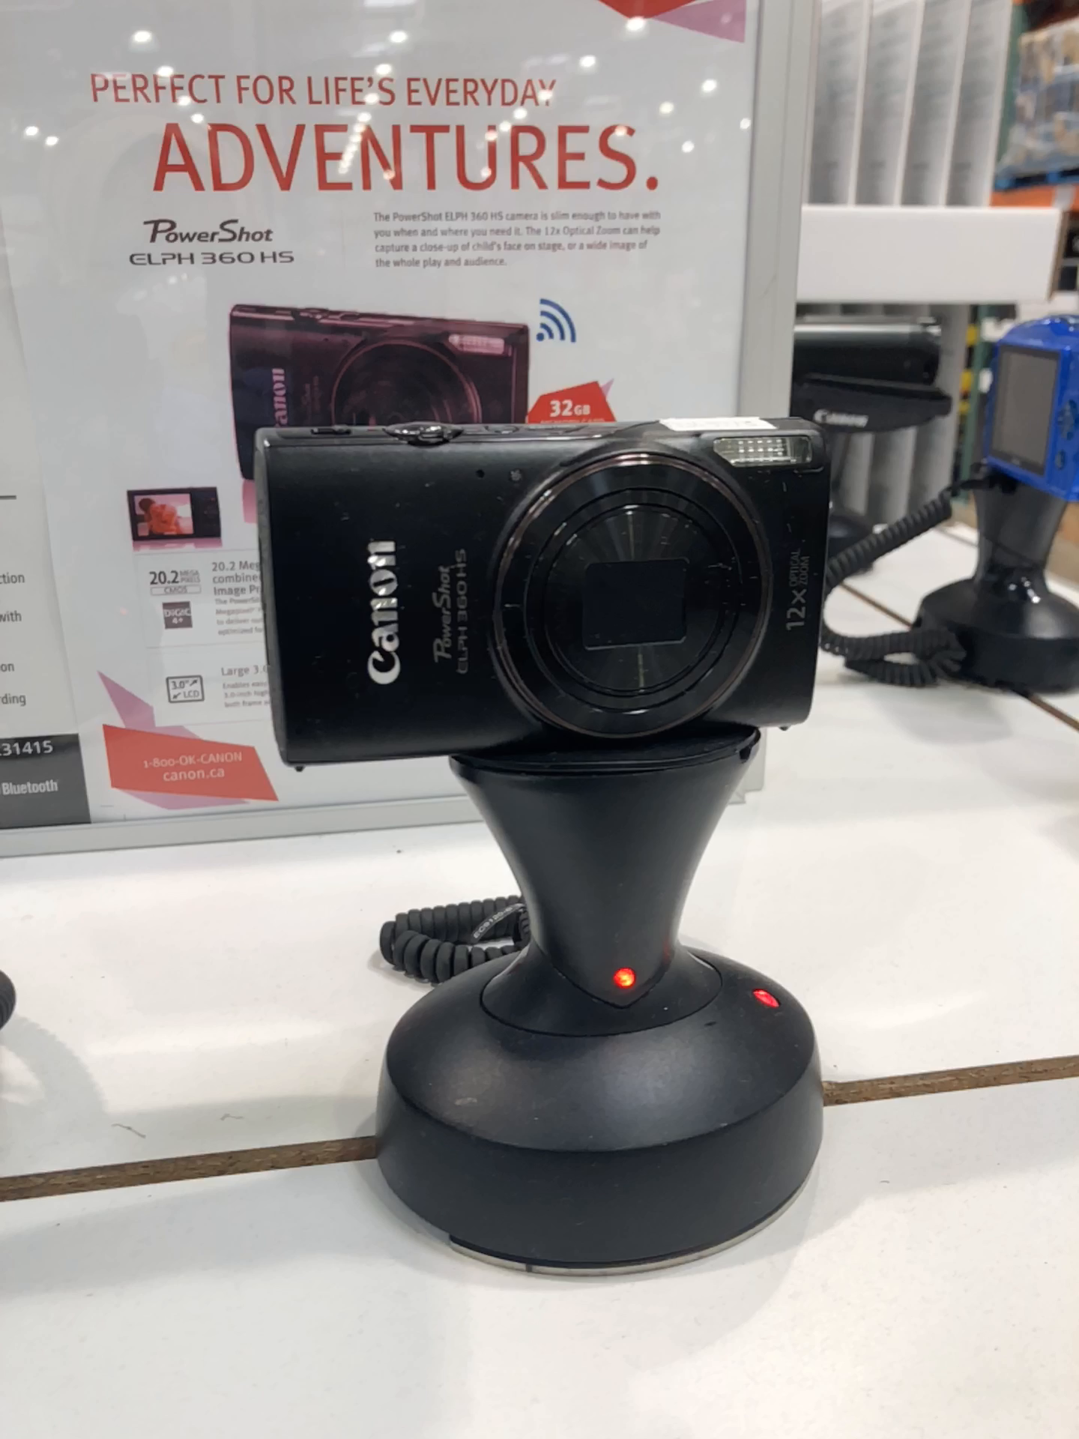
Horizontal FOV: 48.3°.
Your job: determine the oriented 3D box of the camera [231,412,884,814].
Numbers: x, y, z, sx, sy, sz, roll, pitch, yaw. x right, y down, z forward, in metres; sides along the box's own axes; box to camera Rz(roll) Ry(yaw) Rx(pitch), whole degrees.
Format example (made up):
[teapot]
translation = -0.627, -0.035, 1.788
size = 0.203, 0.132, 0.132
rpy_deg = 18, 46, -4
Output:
[camera]
translation = 0.002, -0.023, 0.226
size = 0.110, 0.060, 0.040
rpy_deg = -5, 20, -12
